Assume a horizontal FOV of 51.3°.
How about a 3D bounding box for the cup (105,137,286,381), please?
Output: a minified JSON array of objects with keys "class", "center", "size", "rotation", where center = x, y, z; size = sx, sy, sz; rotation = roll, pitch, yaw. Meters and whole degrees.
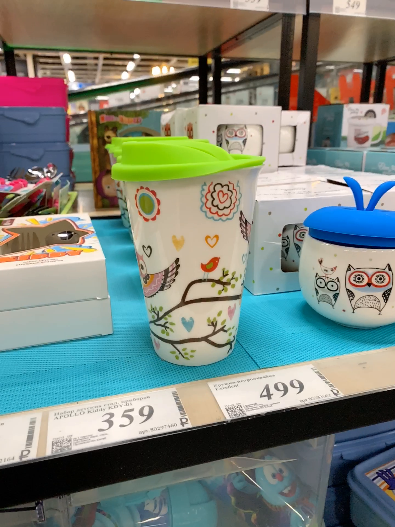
[{"class":"cup","center":[-0.006,-0.013,0.274],"size":[0.090,0.136,0.084],"rotation":[-1,17,0]}]
